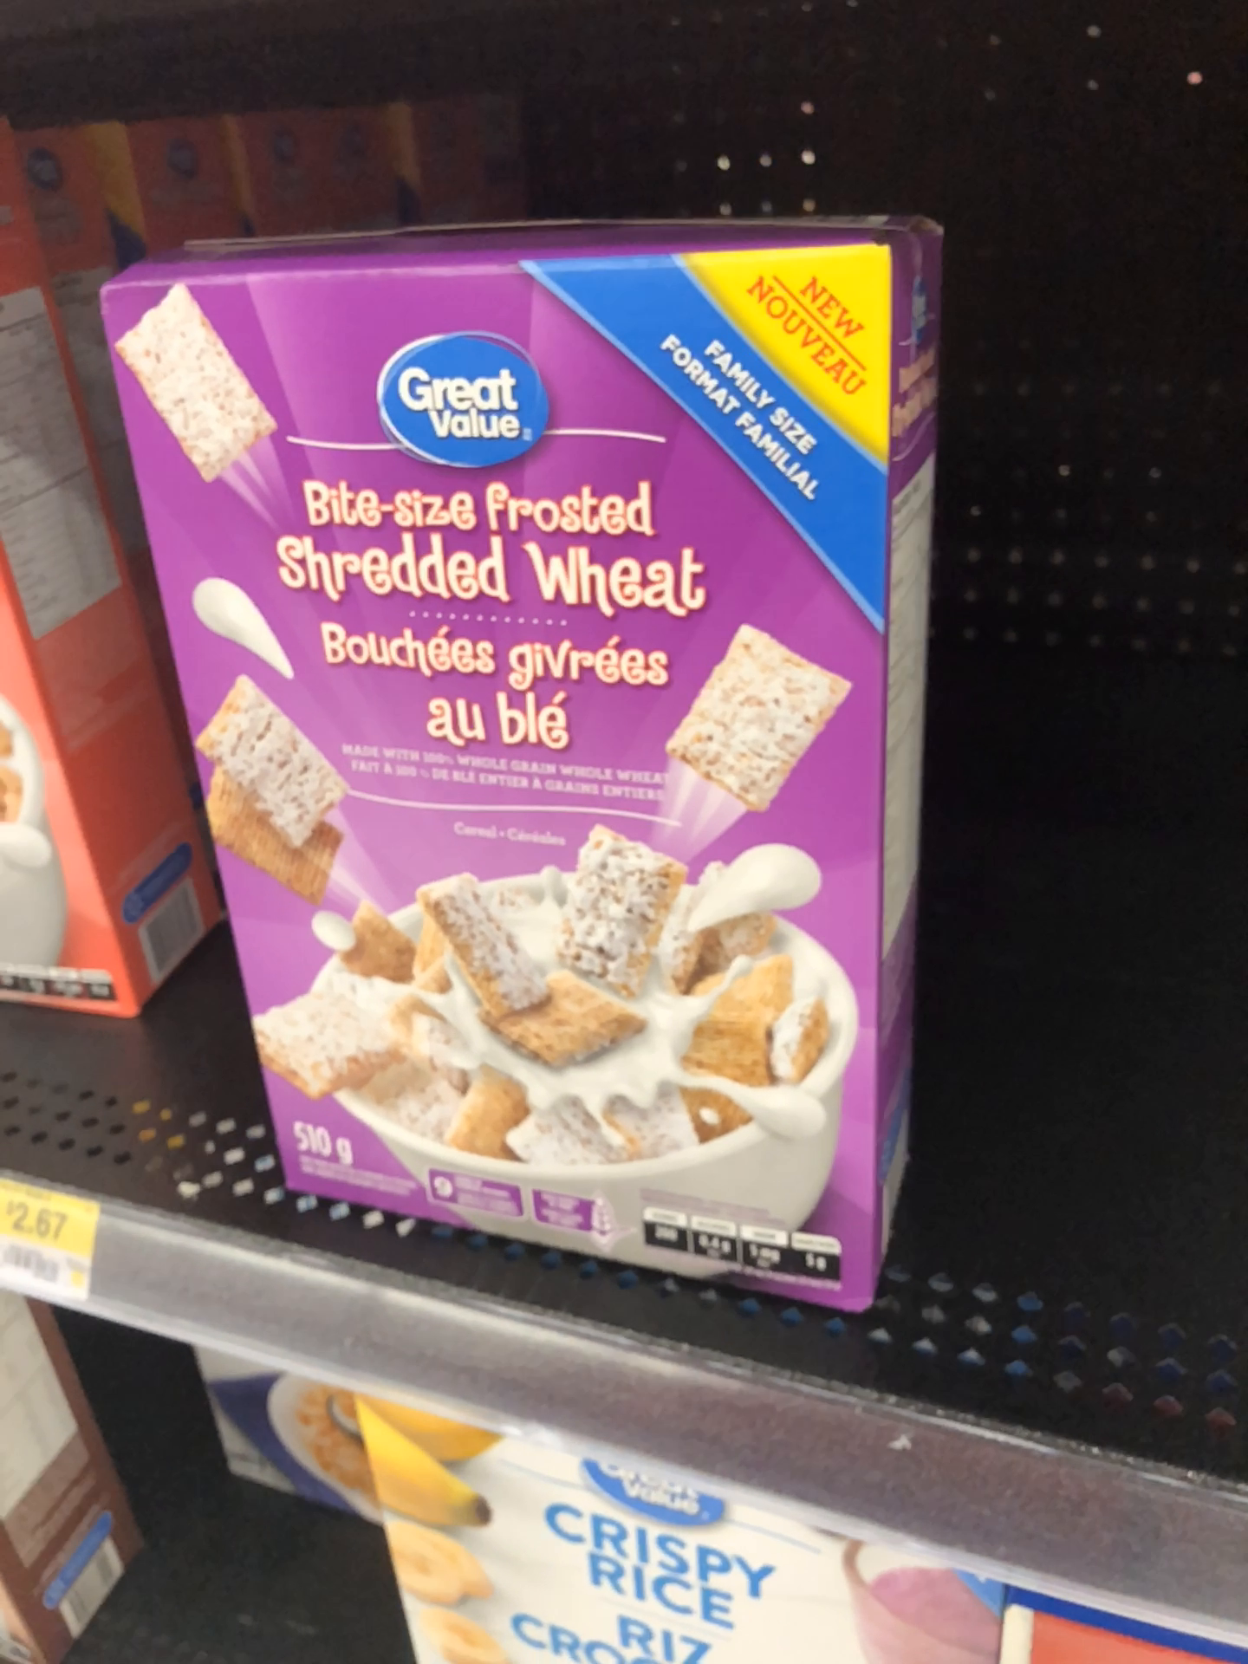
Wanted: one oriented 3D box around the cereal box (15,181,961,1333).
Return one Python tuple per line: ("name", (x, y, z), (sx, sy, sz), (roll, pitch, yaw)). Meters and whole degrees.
("cereal box", (-0.026, -0.017, 0.384), (0.210, 0.279, 0.070), (6, 27, 21))
